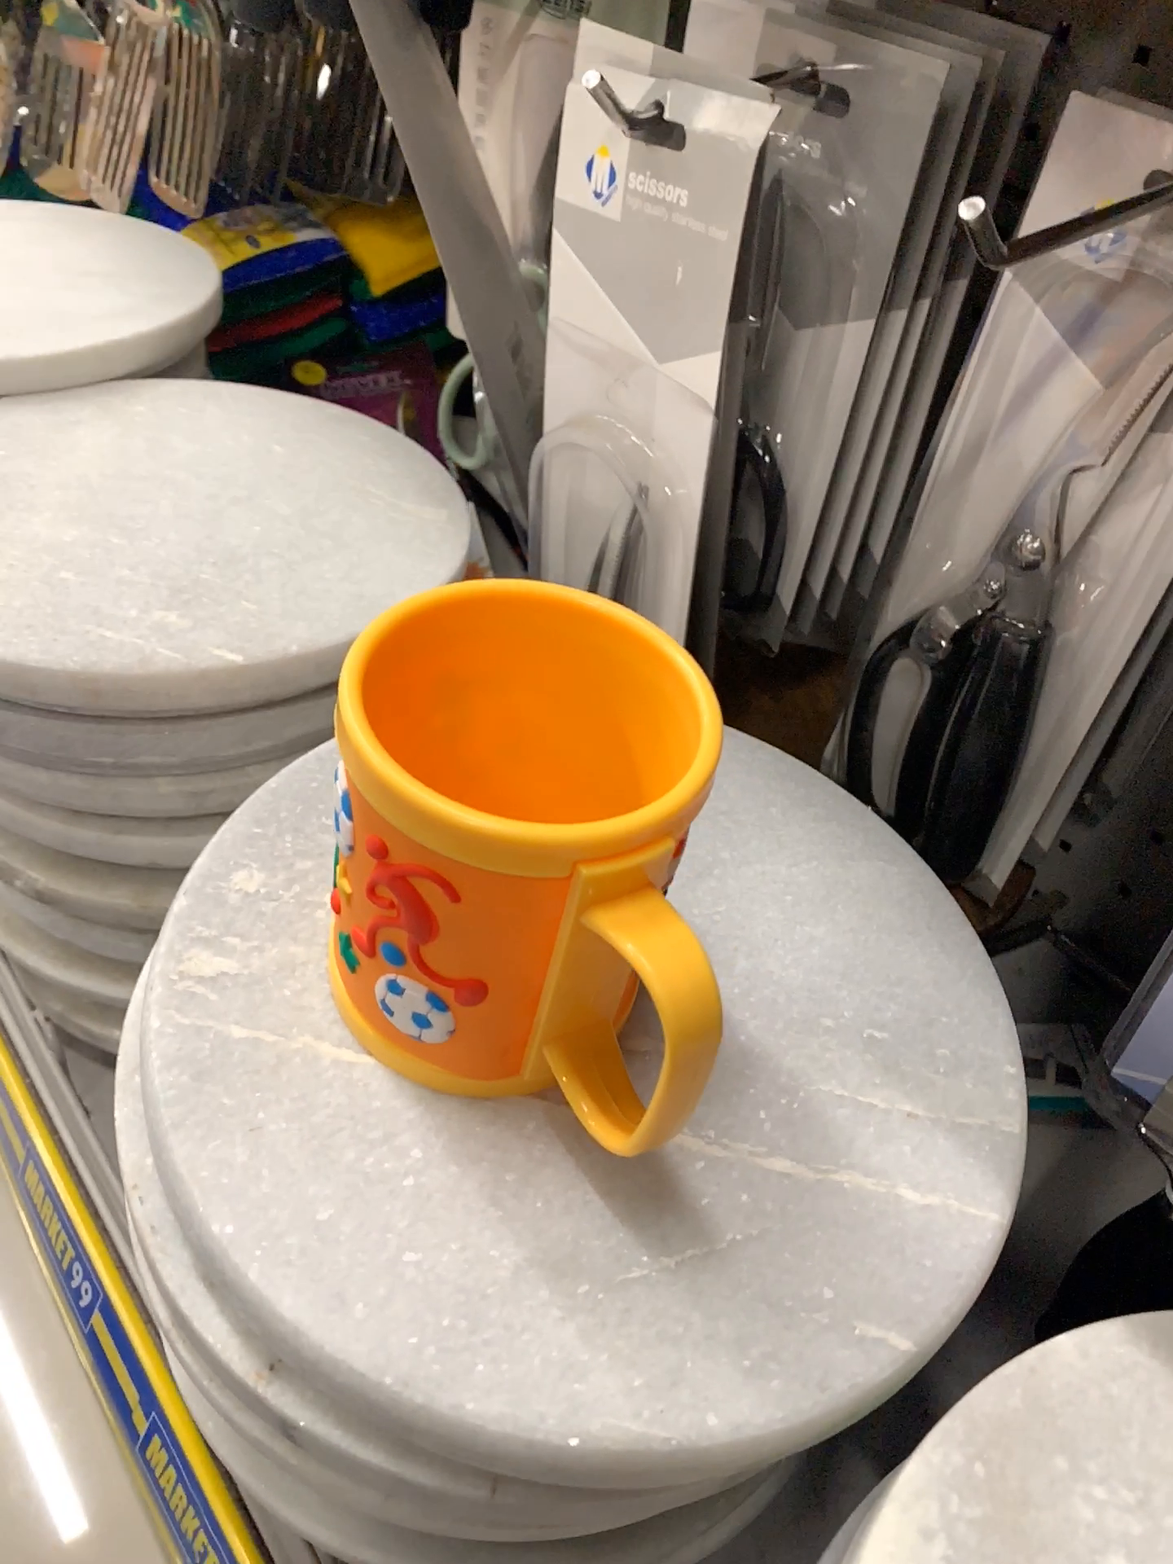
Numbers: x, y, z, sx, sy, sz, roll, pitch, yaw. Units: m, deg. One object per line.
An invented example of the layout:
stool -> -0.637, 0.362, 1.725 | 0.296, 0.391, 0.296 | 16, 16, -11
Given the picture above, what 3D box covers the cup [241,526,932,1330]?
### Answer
cup -> -0.010, 0.025, 0.253 | 0.080, 0.100, 0.110 | -19, 48, -28
